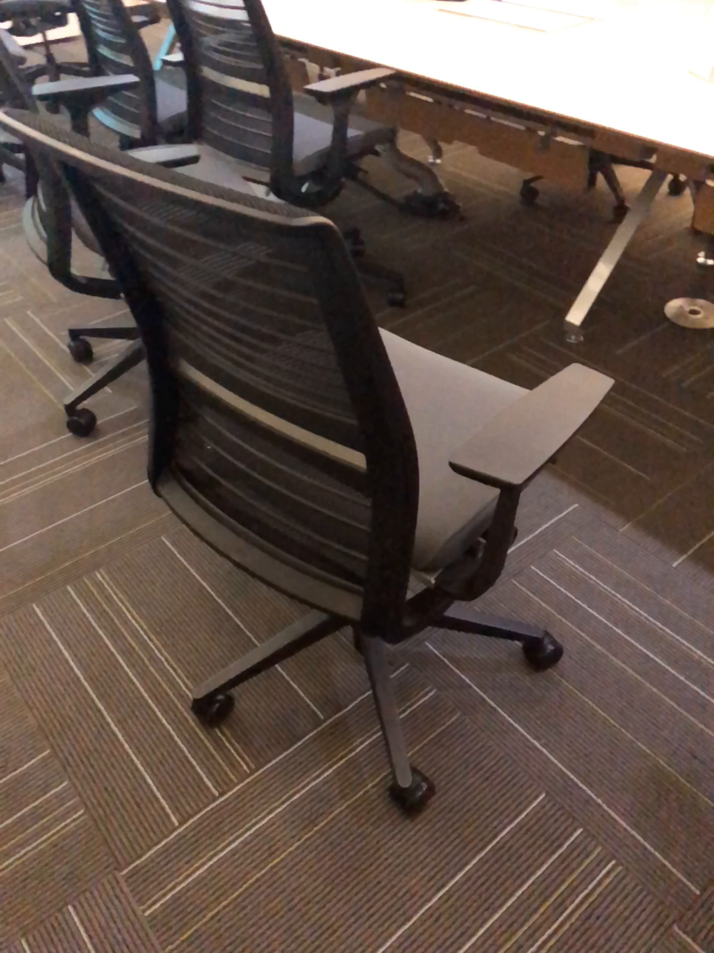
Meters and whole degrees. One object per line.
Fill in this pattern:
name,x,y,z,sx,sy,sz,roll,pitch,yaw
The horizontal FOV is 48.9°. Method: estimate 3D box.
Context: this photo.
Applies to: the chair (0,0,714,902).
chair,-0.006,-0.096,1.104,0.722,0.856,0.662,26,47,29
